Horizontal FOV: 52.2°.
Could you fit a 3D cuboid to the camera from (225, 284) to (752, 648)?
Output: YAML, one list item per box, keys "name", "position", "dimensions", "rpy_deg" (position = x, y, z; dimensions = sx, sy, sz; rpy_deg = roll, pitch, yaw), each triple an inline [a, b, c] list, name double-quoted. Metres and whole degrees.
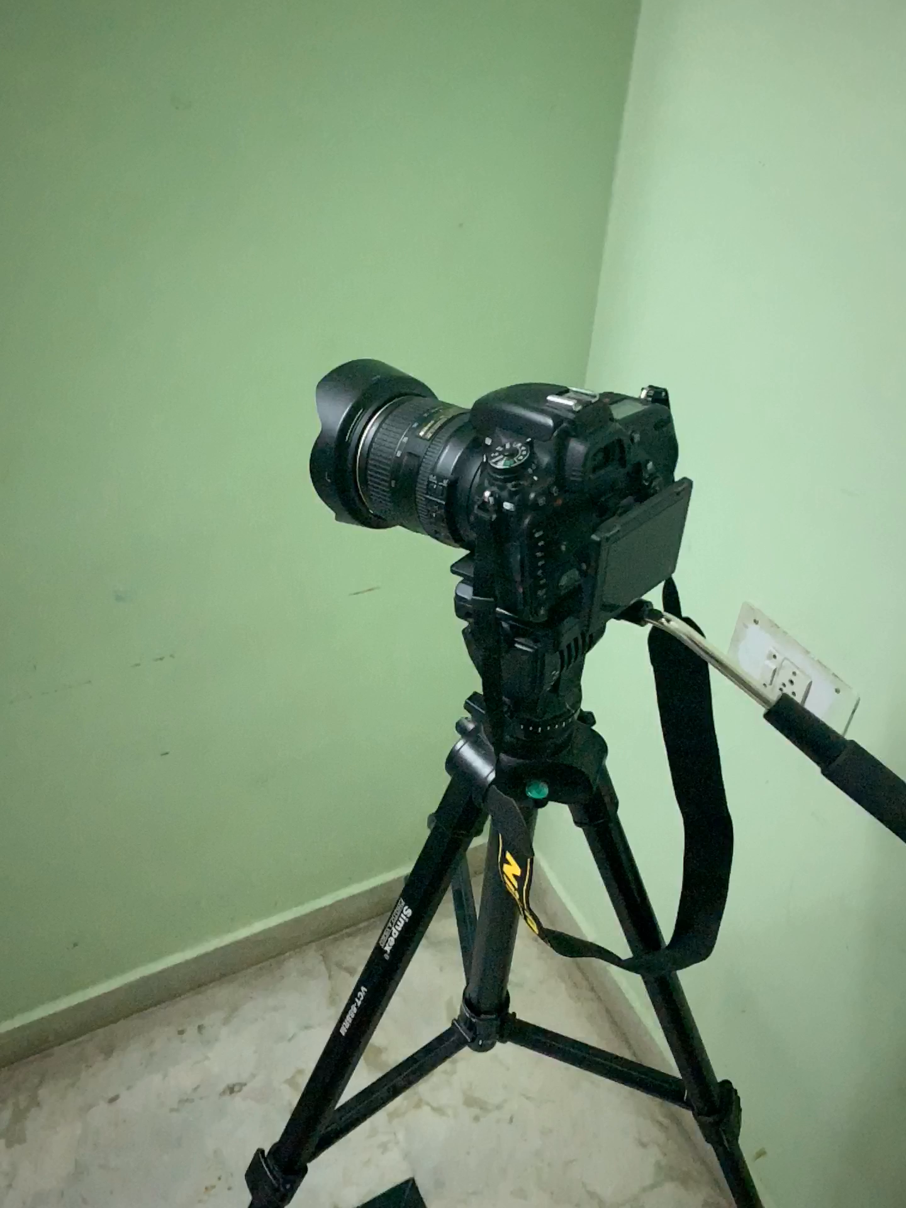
- name: "camera"
  position: [0.021, -0.104, 0.579]
  dimensions: [0.267, 0.127, 0.160]
  rpy_deg: [18, 39, 31]
